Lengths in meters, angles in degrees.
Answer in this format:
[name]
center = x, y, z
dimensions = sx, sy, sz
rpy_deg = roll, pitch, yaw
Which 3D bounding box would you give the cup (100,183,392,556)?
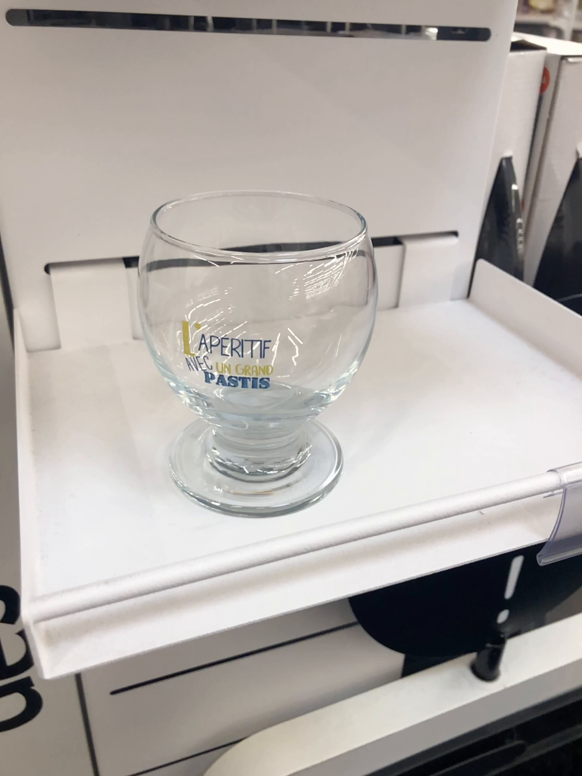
[cup]
center = -0.009, -0.010, 0.217
dimensions = 0.073, 0.093, 0.079
rpy_deg = 2, 29, -1
